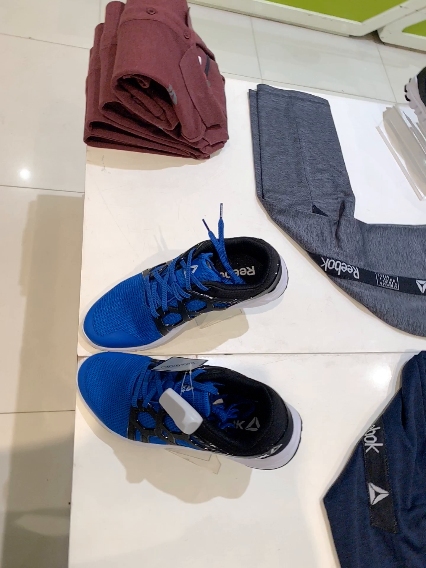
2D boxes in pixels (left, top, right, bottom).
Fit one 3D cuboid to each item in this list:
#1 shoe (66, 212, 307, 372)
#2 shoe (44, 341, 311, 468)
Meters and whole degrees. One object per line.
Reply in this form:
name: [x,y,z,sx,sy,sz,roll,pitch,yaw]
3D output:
shoe: [-0.033,0.020,0.567,0.280,0.100,0.100,-21,77,12]
shoe: [-0.045,0.132,0.498,0.290,0.080,0.100,-5,55,28]
